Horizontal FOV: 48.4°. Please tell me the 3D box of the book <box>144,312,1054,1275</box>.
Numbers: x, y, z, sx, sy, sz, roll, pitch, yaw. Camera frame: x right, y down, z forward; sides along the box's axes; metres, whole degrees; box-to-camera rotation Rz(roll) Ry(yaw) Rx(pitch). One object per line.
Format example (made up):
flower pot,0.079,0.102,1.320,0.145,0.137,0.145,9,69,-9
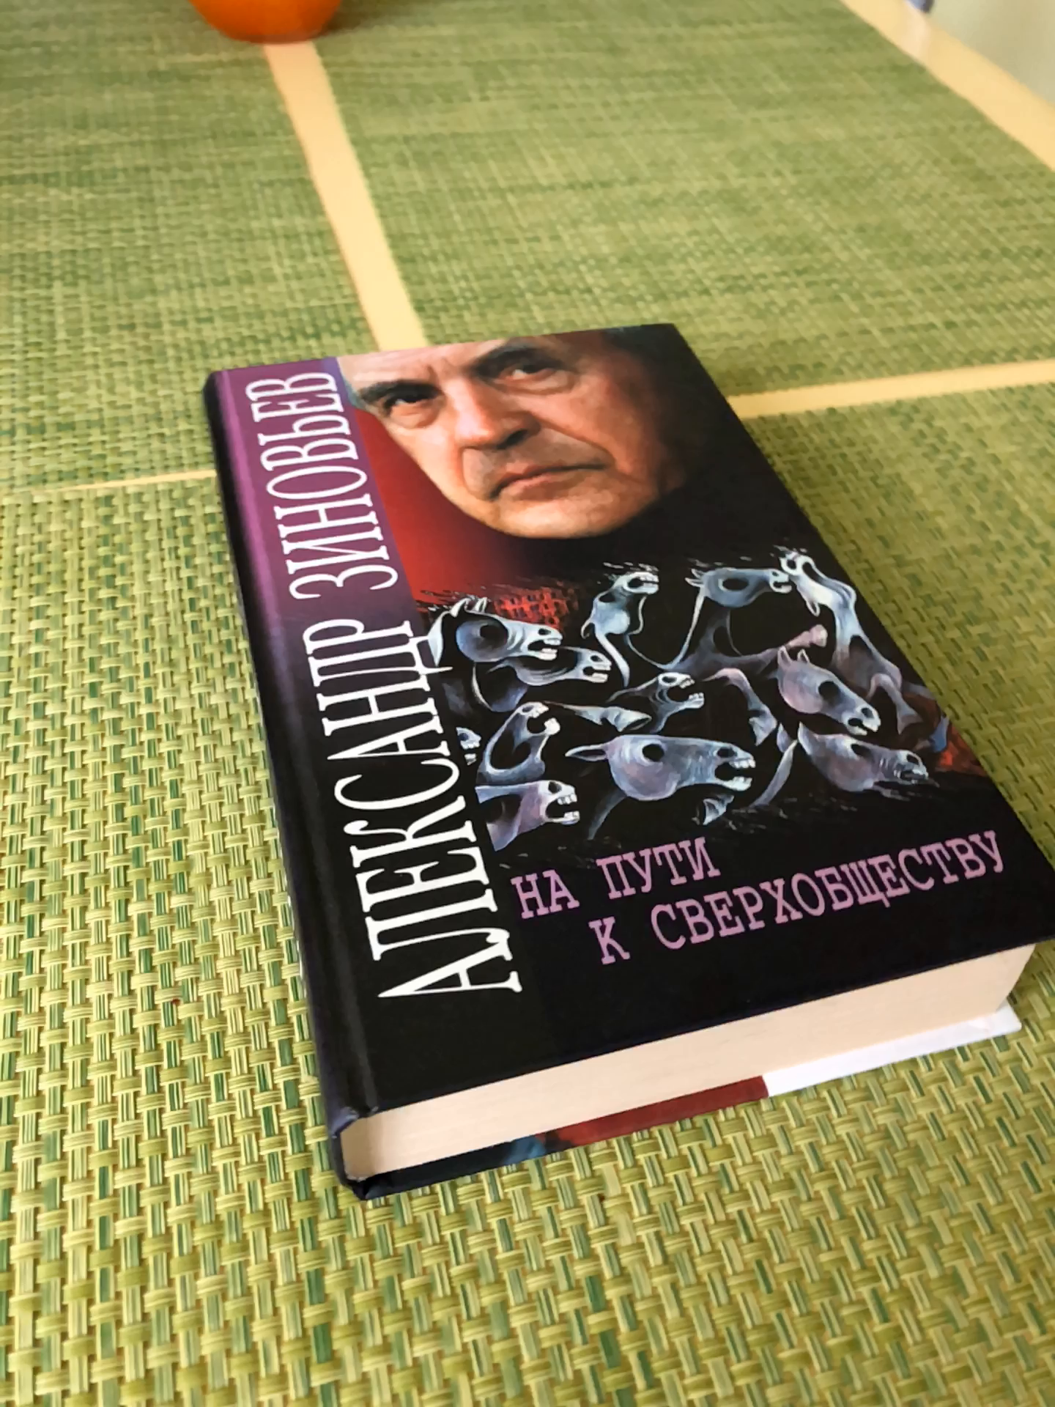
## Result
book,0.005,-0.008,0.251,0.150,0.040,0.201,-10,49,-13
